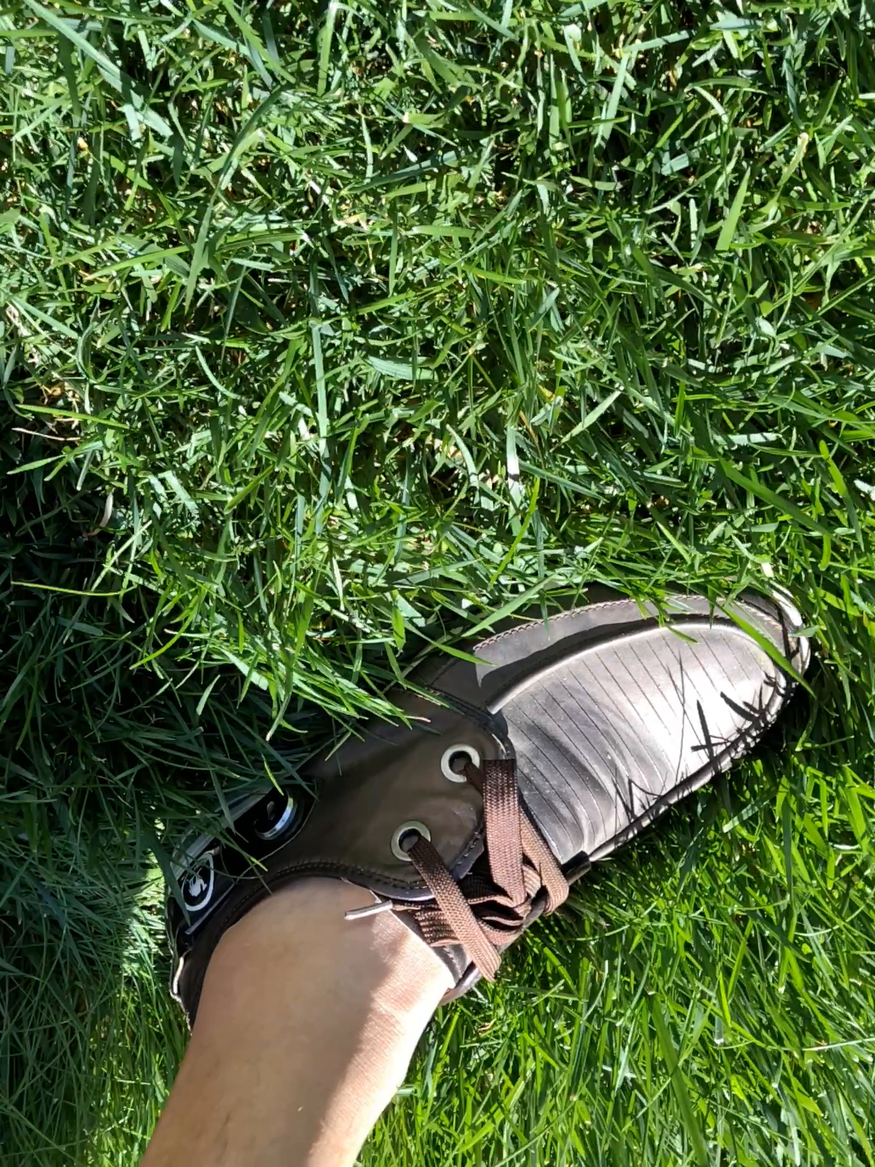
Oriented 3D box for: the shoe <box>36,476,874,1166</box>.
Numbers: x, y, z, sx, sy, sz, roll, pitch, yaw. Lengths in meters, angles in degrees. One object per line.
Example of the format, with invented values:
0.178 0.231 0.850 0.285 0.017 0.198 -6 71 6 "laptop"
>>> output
0.017 0.094 0.350 0.280 0.093 0.112 -31 111 10 "shoe"
